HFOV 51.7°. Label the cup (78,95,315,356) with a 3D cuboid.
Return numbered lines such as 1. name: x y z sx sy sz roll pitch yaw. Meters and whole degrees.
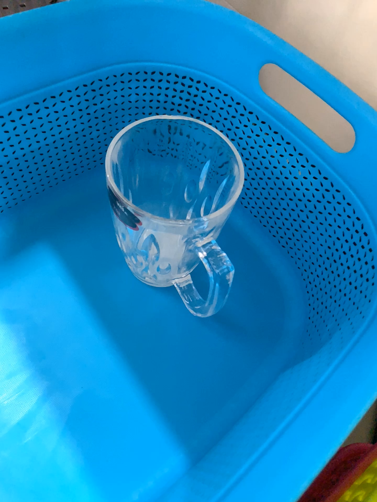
1. cup: -0.004 -0.011 0.262 0.078 0.117 0.110 -35 71 -24
